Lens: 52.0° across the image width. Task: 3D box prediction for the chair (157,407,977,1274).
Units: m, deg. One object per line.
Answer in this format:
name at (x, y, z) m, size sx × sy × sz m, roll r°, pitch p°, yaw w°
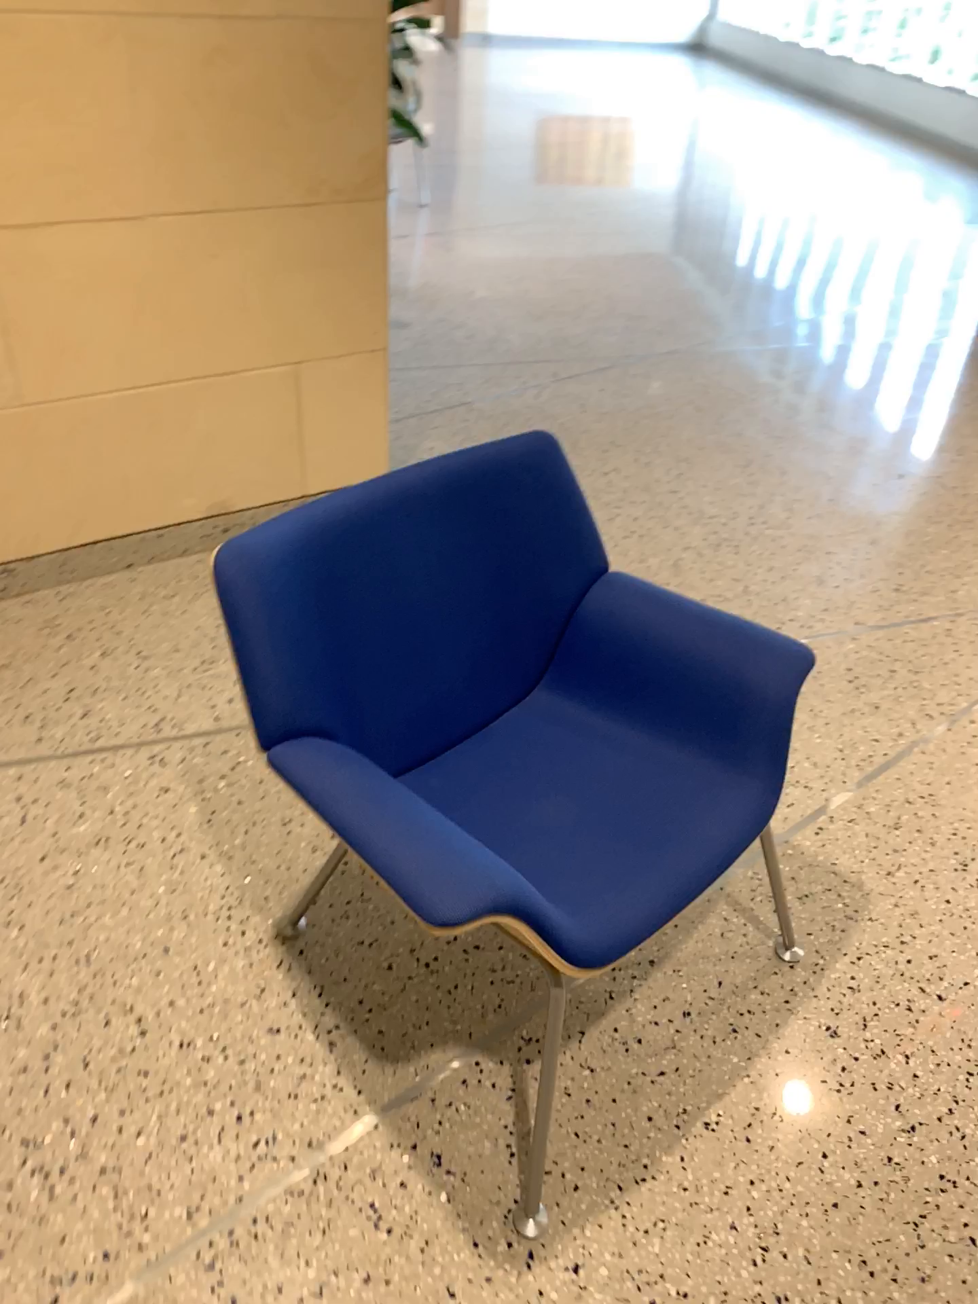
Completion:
chair at (0.093, 0.183, 1.524) m, size 0.782 × 0.727 × 0.760 m, roll -28°, pitch 46°, yaw -37°
